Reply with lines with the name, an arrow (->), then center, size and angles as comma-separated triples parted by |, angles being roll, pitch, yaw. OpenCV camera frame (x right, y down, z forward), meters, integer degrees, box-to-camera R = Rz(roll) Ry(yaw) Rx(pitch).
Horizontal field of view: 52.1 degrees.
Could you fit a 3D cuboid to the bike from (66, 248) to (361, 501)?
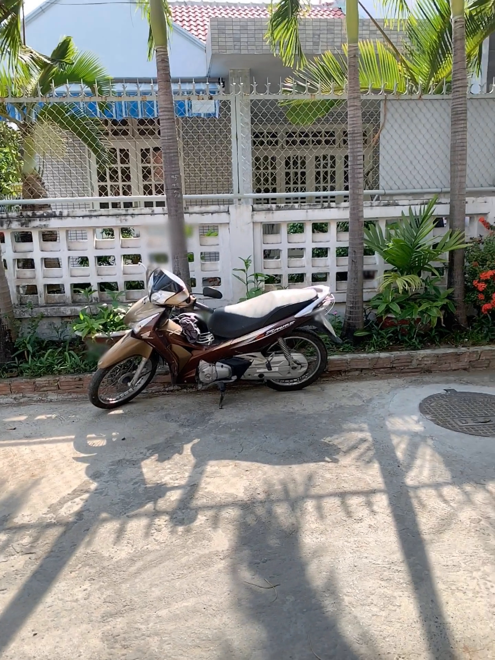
bike -> -0.165, 0.203, 3.690 | 1.975, 1.444, 0.614 | -6, 12, -19
